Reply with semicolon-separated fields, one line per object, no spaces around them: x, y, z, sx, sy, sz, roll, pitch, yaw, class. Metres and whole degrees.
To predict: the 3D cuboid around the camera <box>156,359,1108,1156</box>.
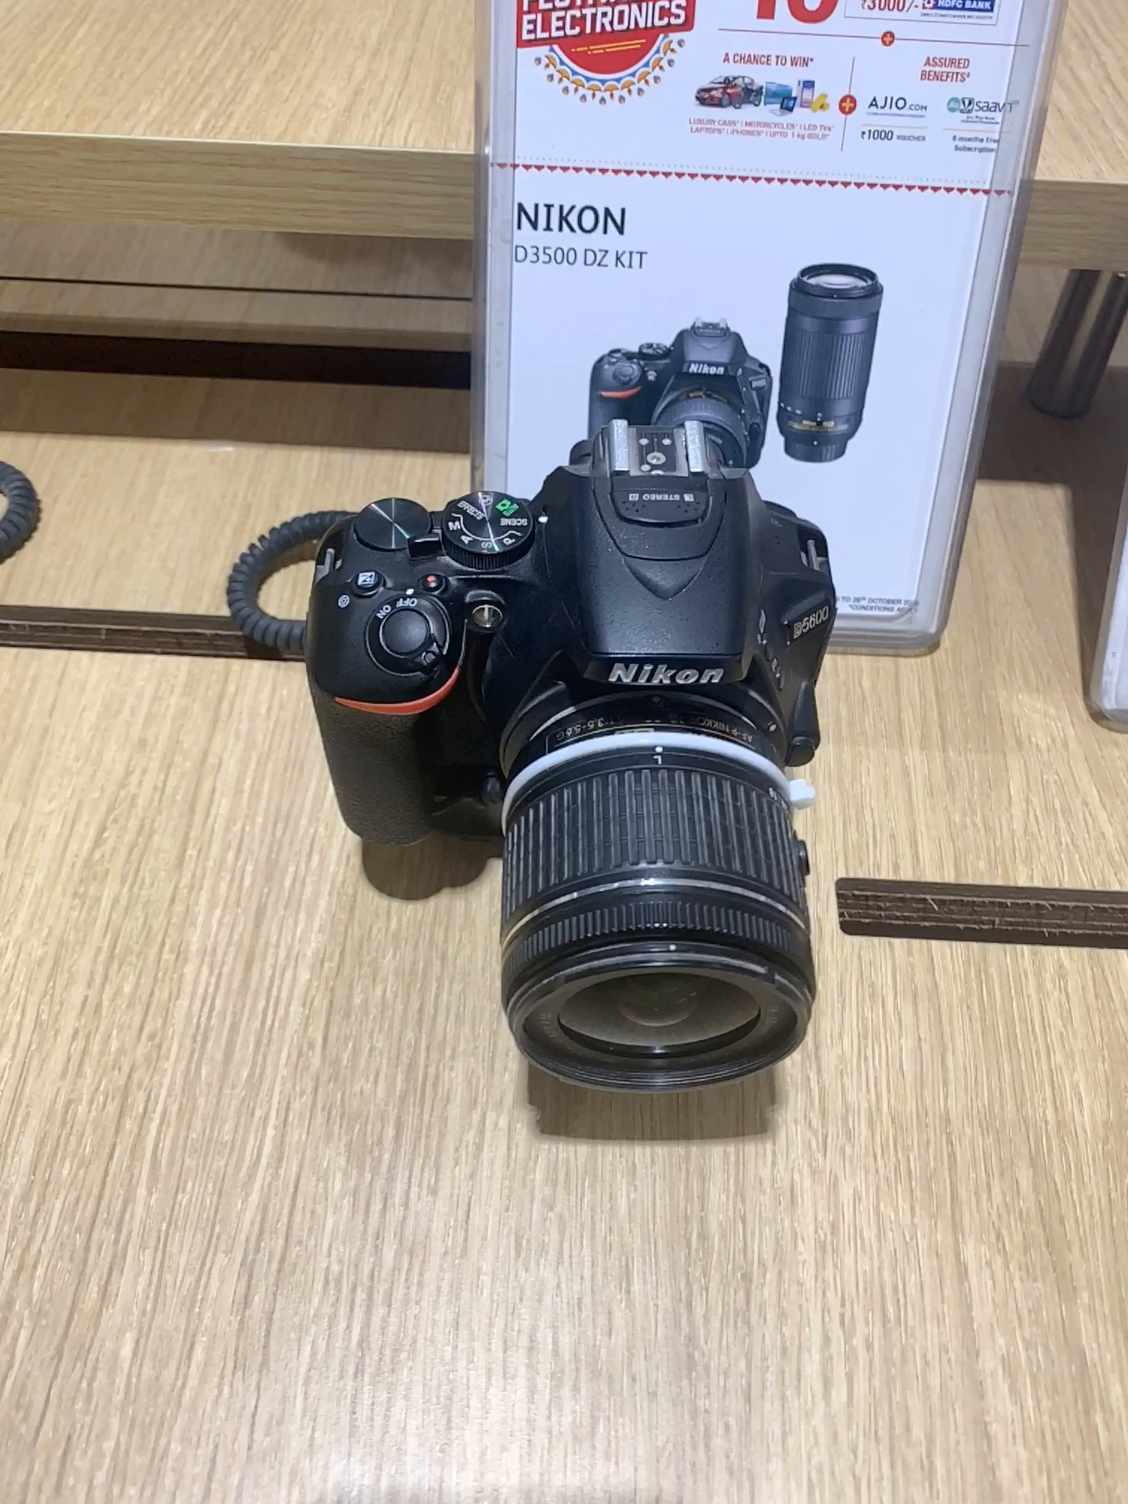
0.010;0.002;0.235;0.130;0.100;0.120;2;53;0;camera
